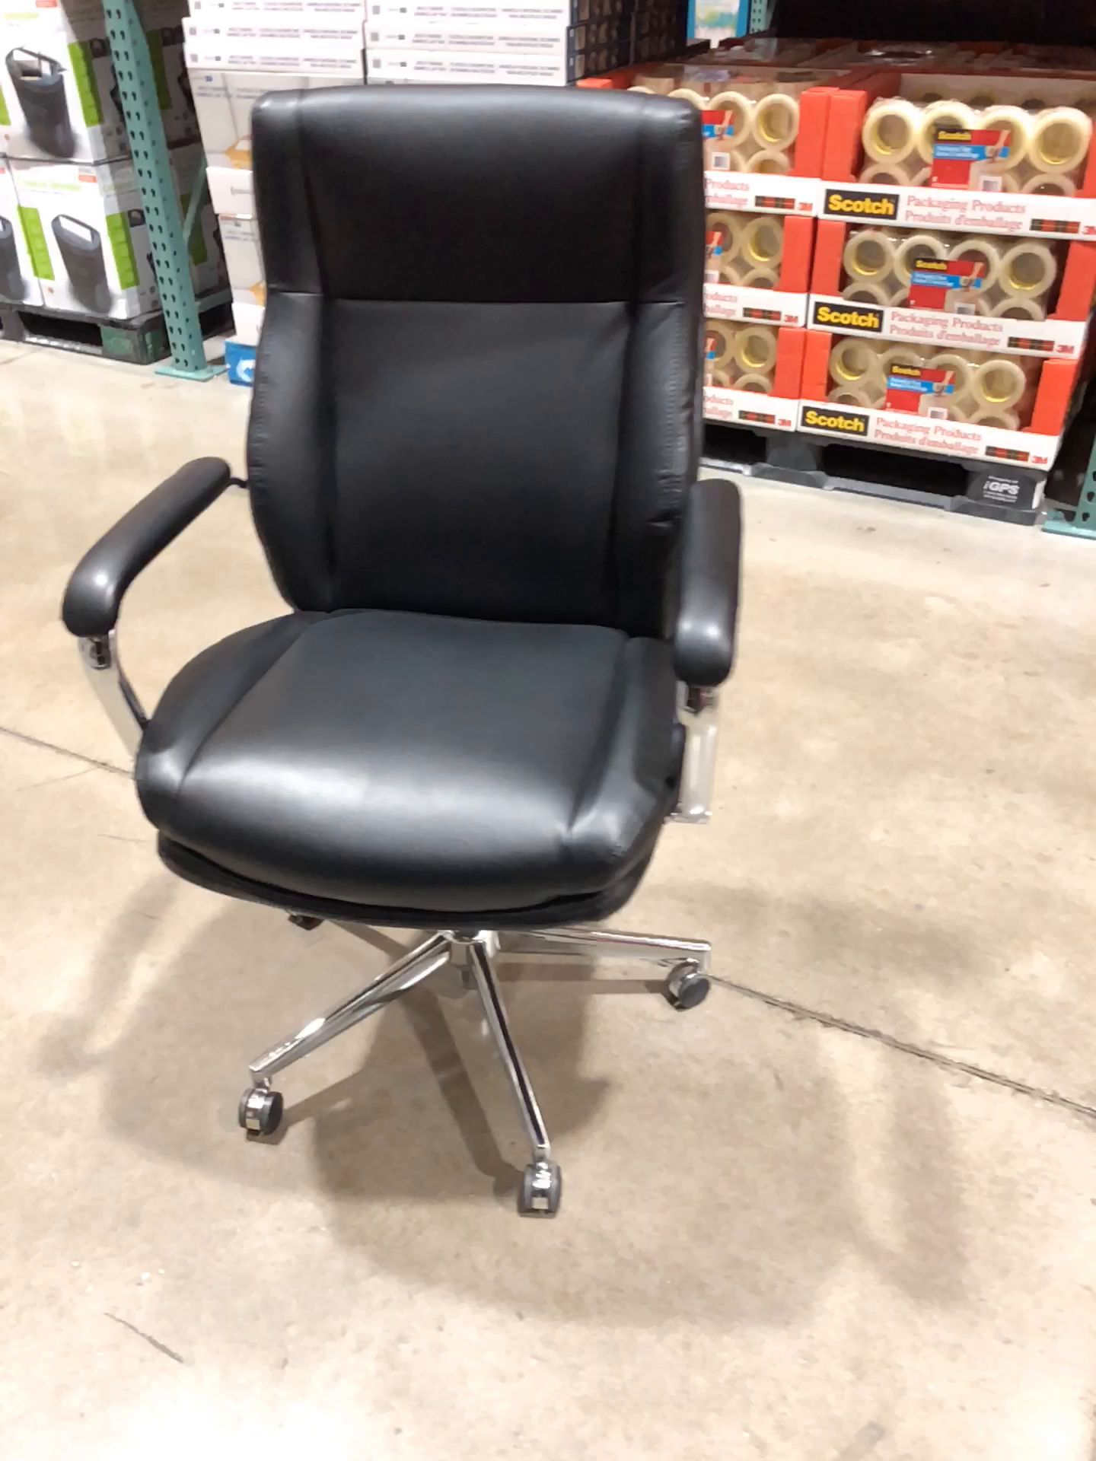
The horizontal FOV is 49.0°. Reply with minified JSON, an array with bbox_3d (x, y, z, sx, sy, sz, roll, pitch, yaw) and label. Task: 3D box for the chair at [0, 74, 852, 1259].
[{"bbox_3d":[-0.095,-0.099,1.349,0.710,1.045,0.703,7,35,11],"label":"chair"}]
